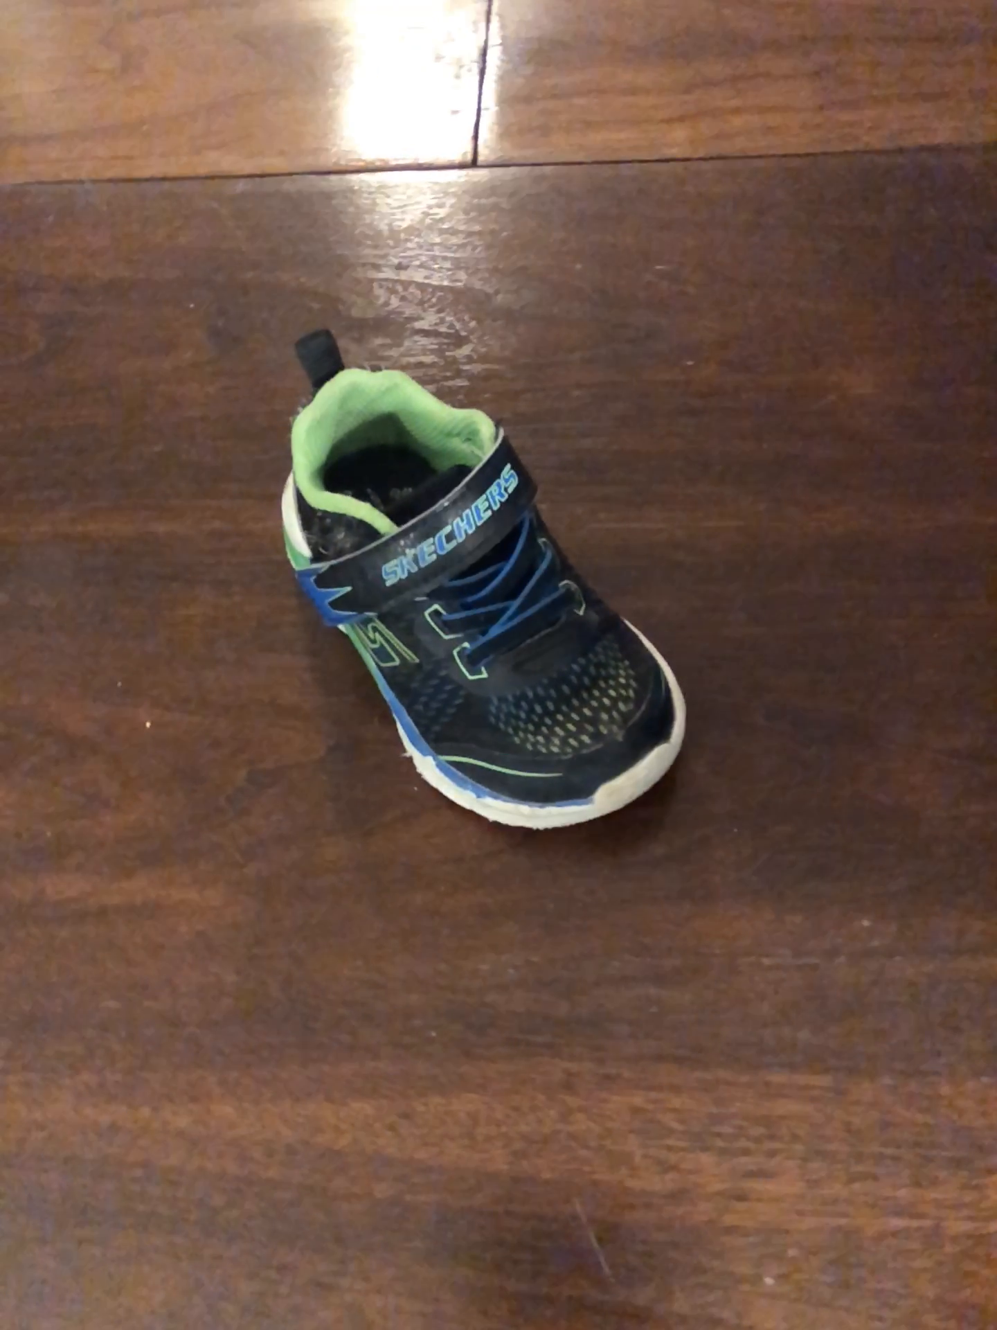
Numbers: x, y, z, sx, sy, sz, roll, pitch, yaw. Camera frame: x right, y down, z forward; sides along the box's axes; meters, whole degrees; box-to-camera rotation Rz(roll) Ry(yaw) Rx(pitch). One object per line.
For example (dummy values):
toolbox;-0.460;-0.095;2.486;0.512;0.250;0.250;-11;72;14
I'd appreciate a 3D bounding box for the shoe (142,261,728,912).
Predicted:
shoe;-0.021;-0.026;0.337;0.080;0.080;0.170;-34;65;-11
